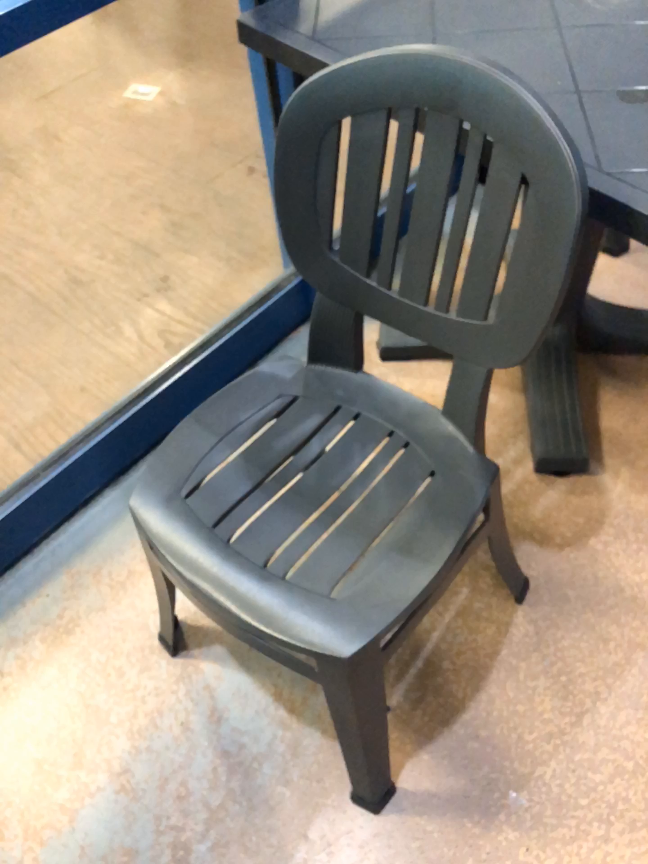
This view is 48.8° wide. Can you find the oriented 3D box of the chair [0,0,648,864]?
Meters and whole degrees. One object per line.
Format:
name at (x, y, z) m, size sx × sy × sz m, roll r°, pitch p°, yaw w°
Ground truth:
chair at (0.002, 0.023, 0.806) m, size 0.502 × 0.736 × 0.552 m, roll 29°, pitch 61°, yaw 25°
